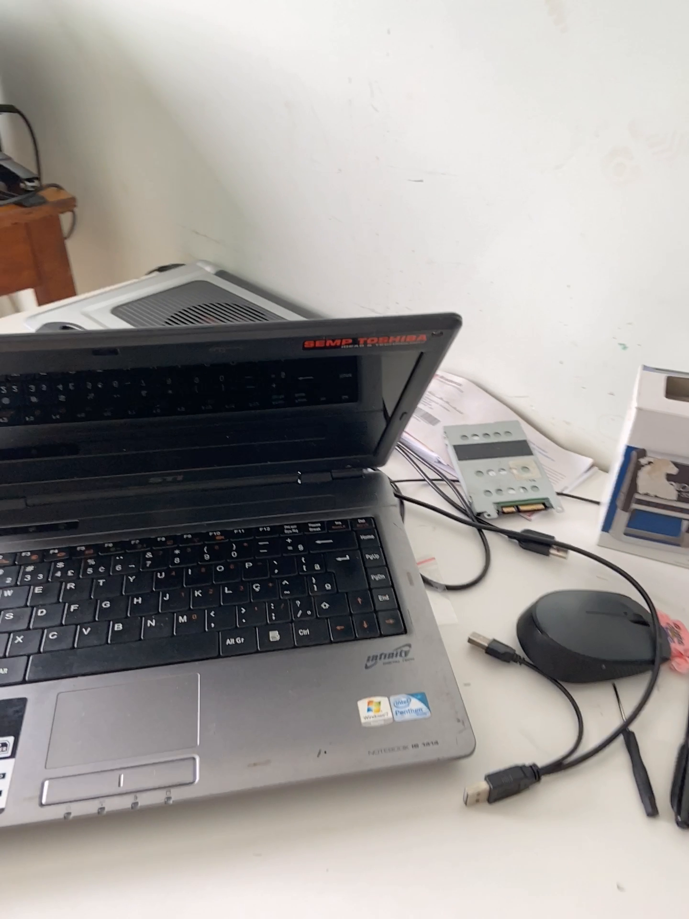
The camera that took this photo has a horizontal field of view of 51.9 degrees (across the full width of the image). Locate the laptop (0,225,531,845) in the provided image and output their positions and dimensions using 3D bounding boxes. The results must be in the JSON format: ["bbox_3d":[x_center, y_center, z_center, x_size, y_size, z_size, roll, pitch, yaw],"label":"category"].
[{"bbox_3d":[-0.118,0.016,0.397,0.342,0.200,0.243,-4,38,-8],"label":"laptop"}]
